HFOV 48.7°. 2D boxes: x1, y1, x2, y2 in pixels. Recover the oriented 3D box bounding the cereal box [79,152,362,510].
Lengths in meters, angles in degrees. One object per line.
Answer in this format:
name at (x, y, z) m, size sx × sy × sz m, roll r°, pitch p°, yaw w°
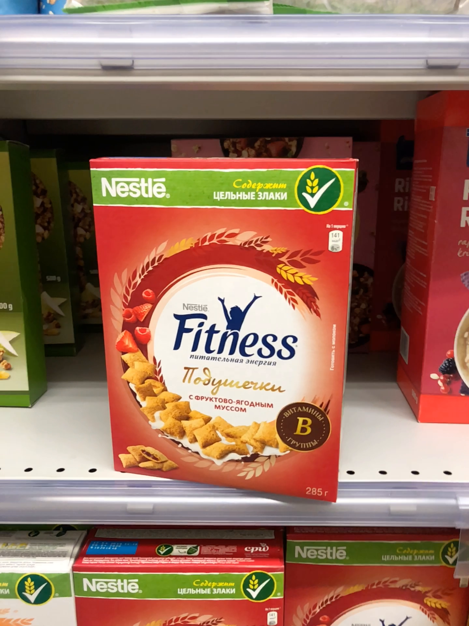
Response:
cereal box at (-0.008, 0.010, 0.375) m, size 0.180 × 0.239 × 0.050 m, roll 4°, pitch 17°, yaw 14°
